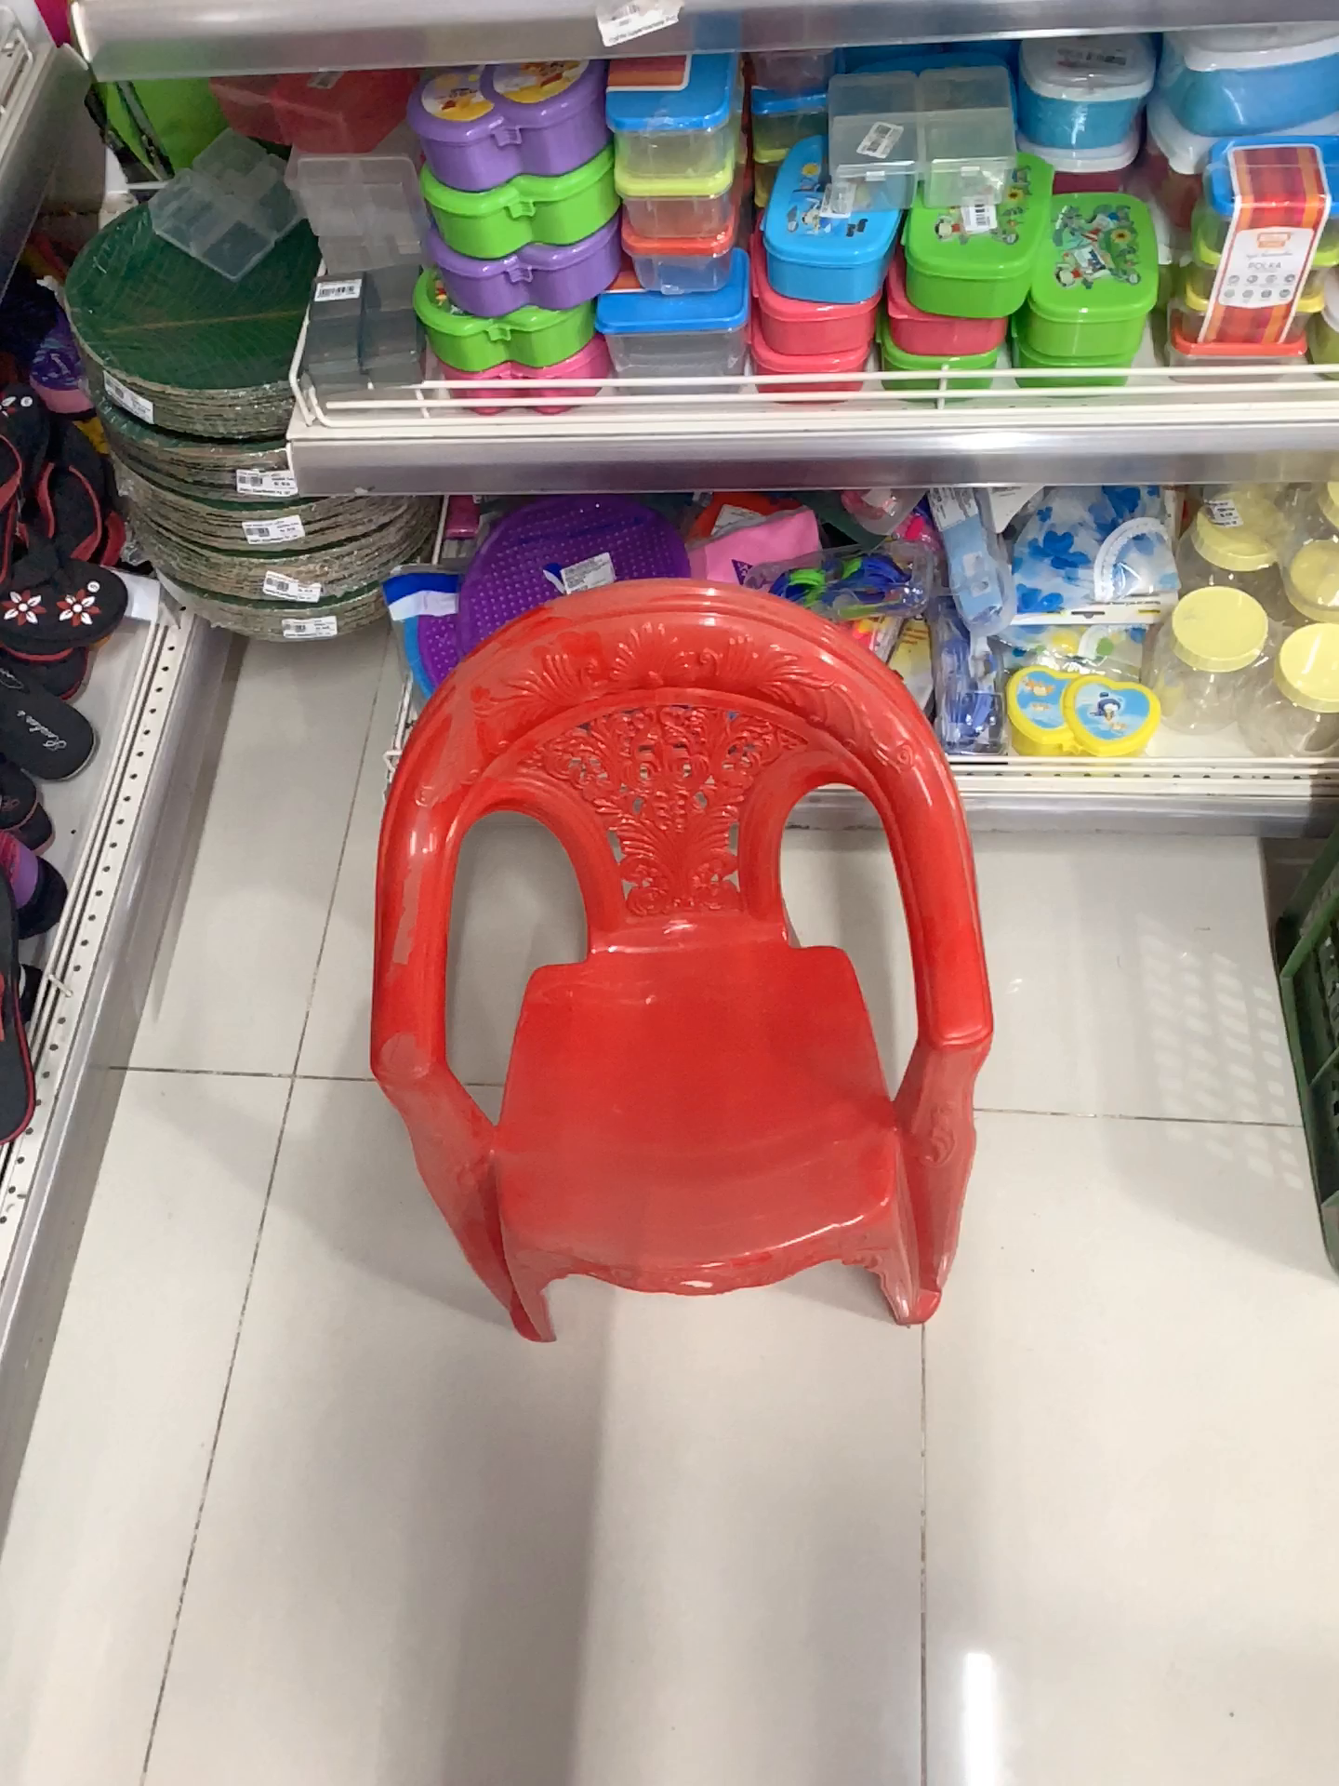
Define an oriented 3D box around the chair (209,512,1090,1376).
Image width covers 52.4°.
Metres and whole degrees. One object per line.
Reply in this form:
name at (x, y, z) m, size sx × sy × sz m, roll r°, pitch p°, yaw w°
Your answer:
chair at (0.011, 0.083, 0.943) m, size 0.410 × 0.499 × 0.411 m, roll -3°, pitch 63°, yaw 6°
